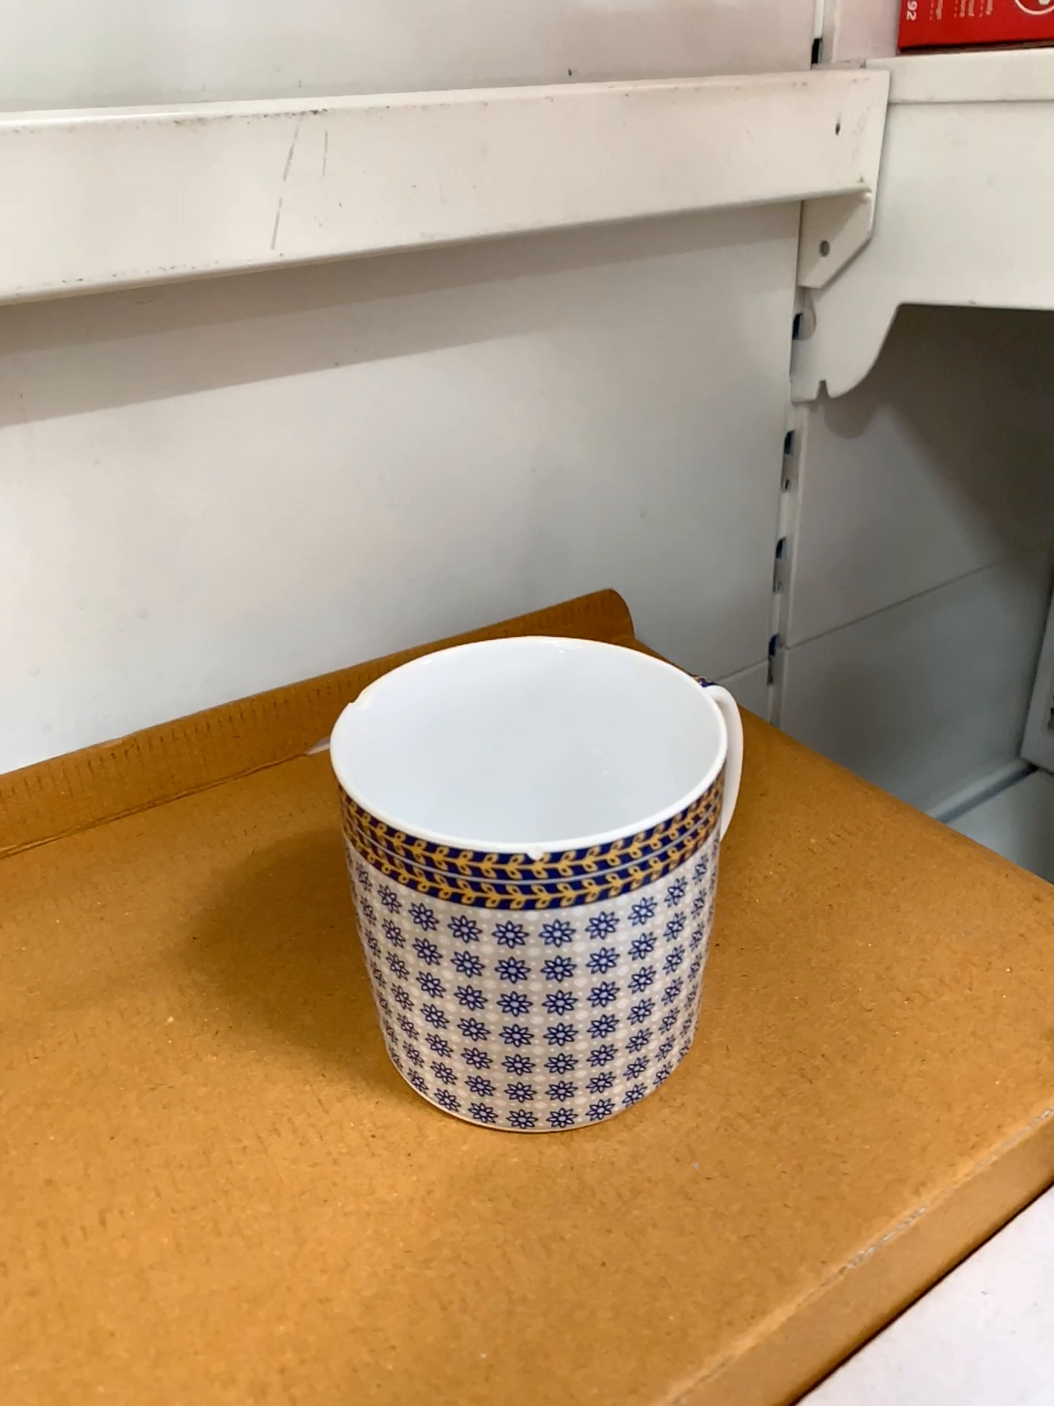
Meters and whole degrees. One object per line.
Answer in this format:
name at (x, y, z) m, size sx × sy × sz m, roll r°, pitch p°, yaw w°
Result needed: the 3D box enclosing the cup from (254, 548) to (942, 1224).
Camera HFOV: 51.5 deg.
cup at (0.017, 0.025, 0.229) m, size 0.110 × 0.069 × 0.080 m, roll -27°, pitch 37°, yaw -36°
